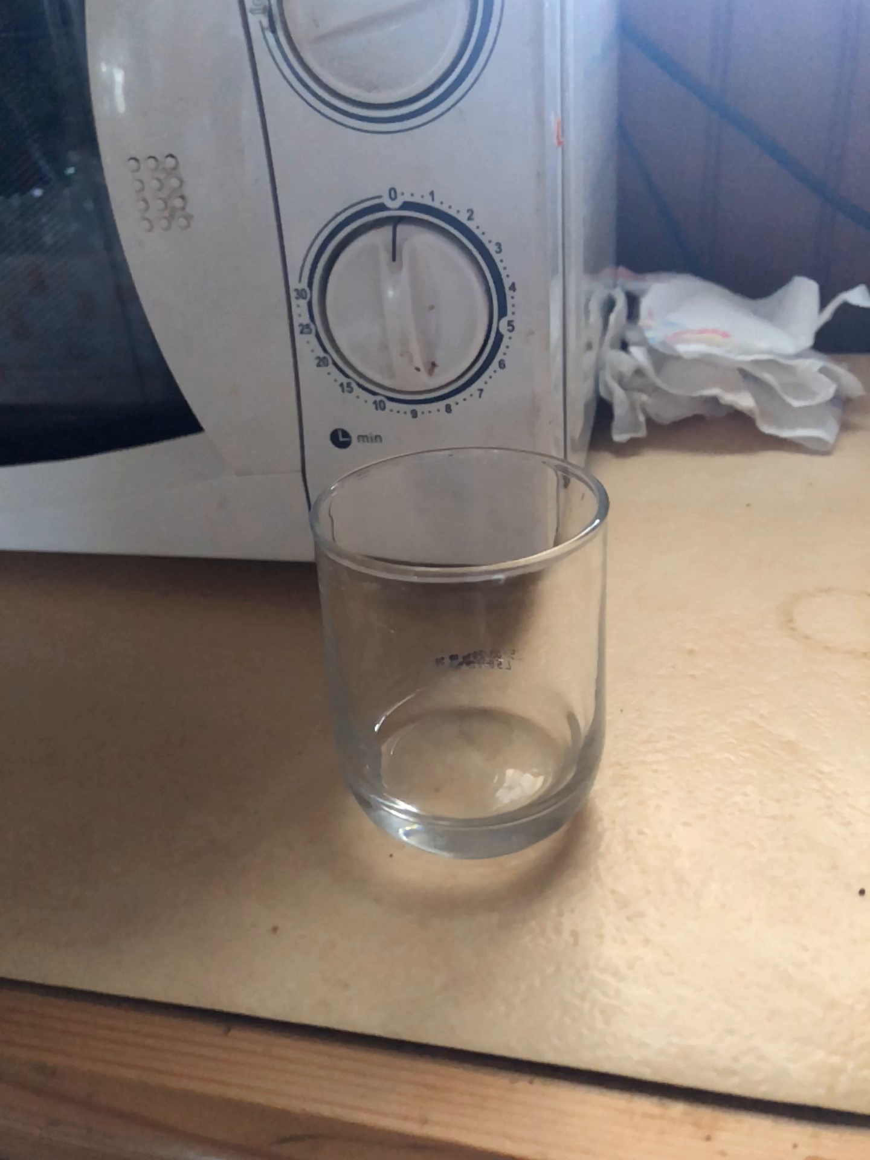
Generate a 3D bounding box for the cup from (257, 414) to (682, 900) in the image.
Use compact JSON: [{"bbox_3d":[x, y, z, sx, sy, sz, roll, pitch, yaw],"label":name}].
[{"bbox_3d":[0.005,0.012,0.219,0.070,0.070,0.070,-3,30,2],"label":"cup"}]
